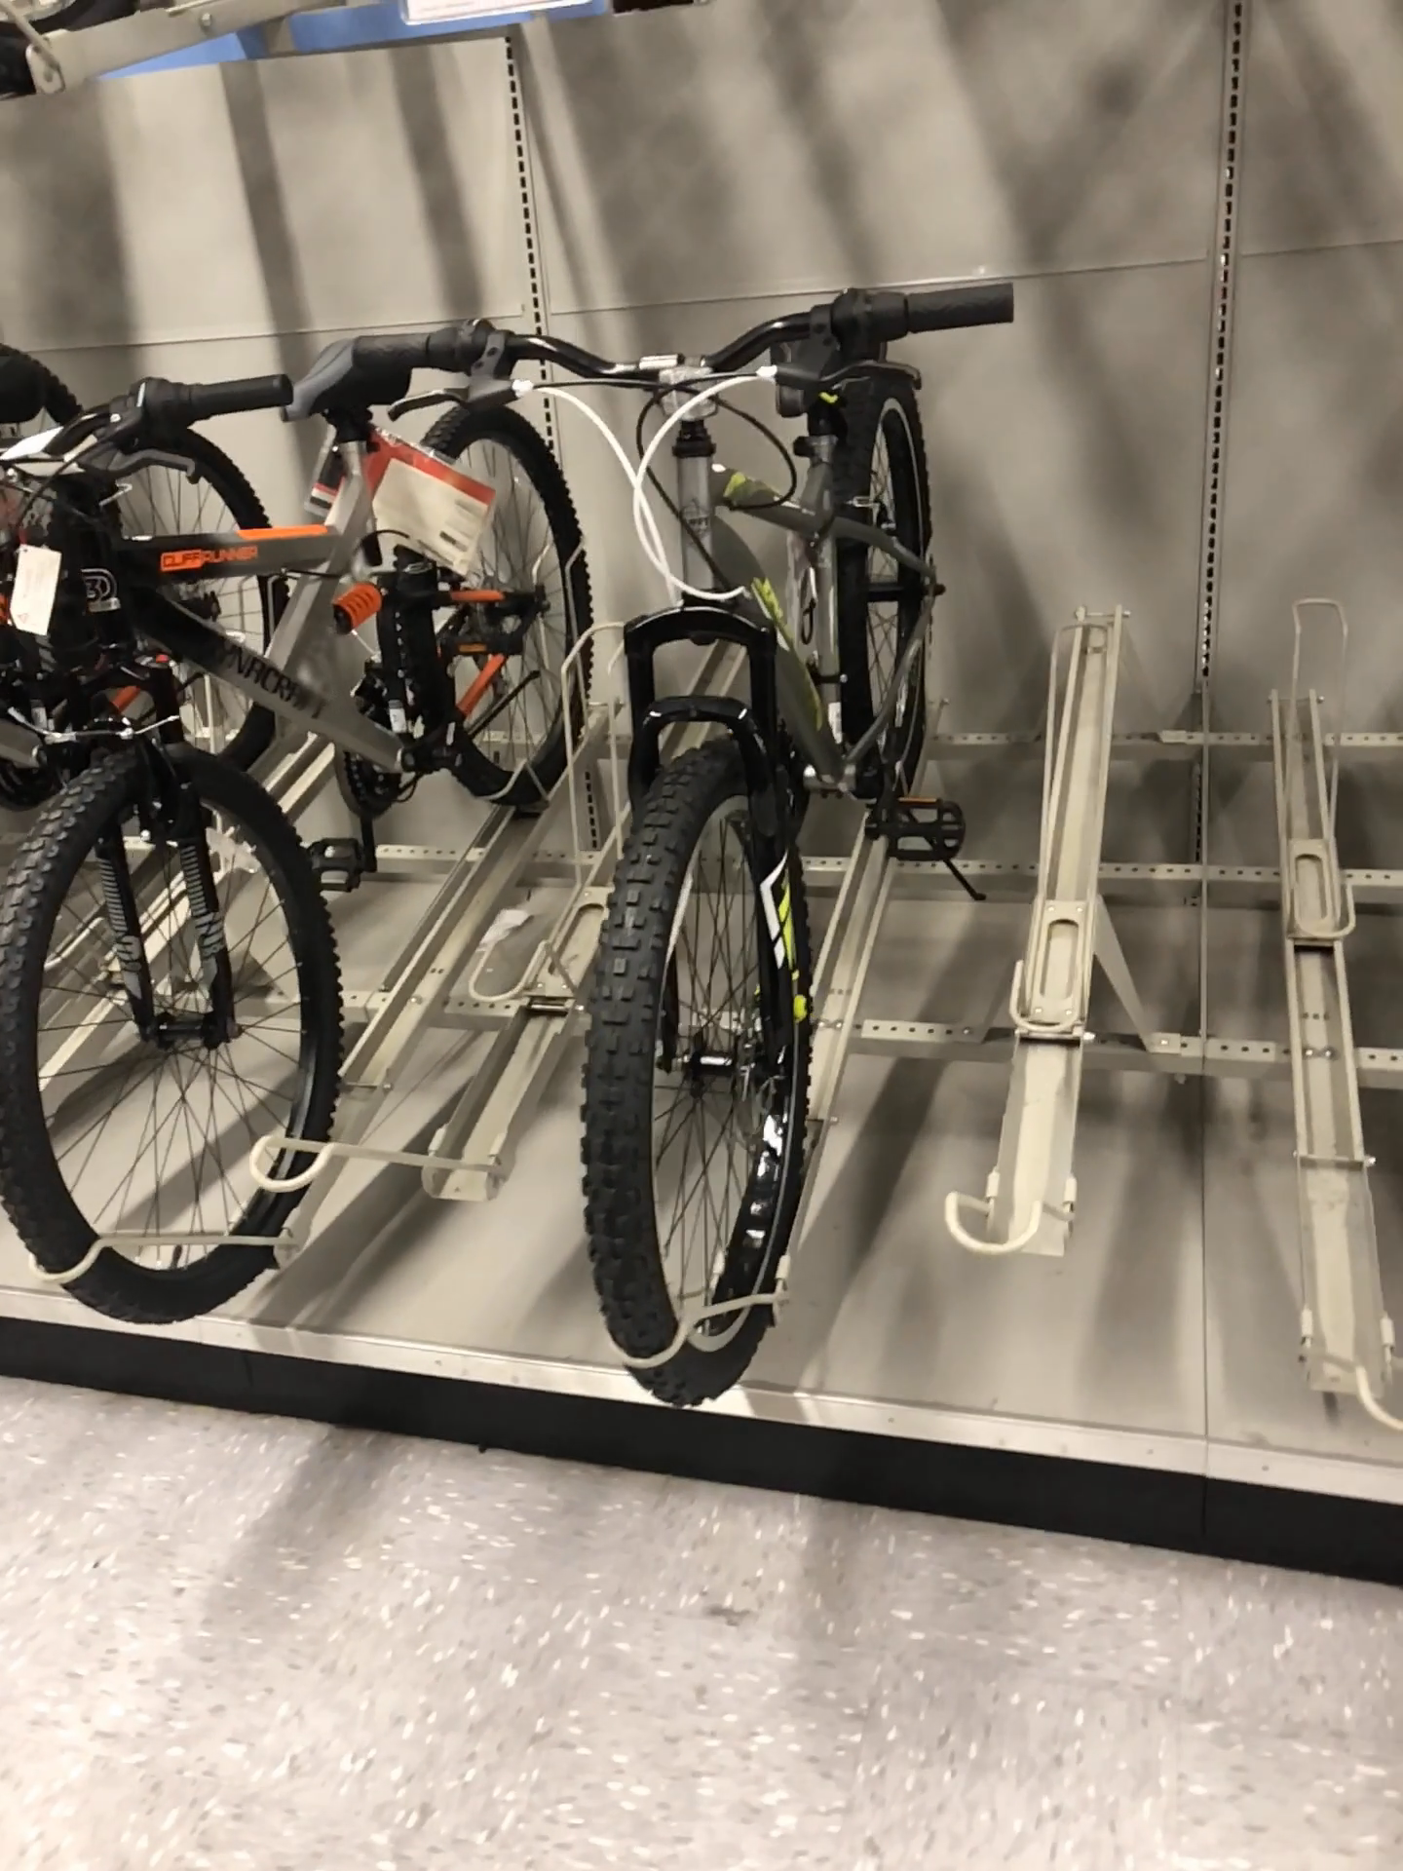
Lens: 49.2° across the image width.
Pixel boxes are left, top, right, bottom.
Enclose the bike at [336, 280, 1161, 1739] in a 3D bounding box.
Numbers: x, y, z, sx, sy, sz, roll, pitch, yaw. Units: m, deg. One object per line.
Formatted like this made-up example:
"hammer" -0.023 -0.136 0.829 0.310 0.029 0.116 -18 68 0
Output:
"bike" 0.232 -0.177 1.970 0.607 0.728 1.725 2 35 18
